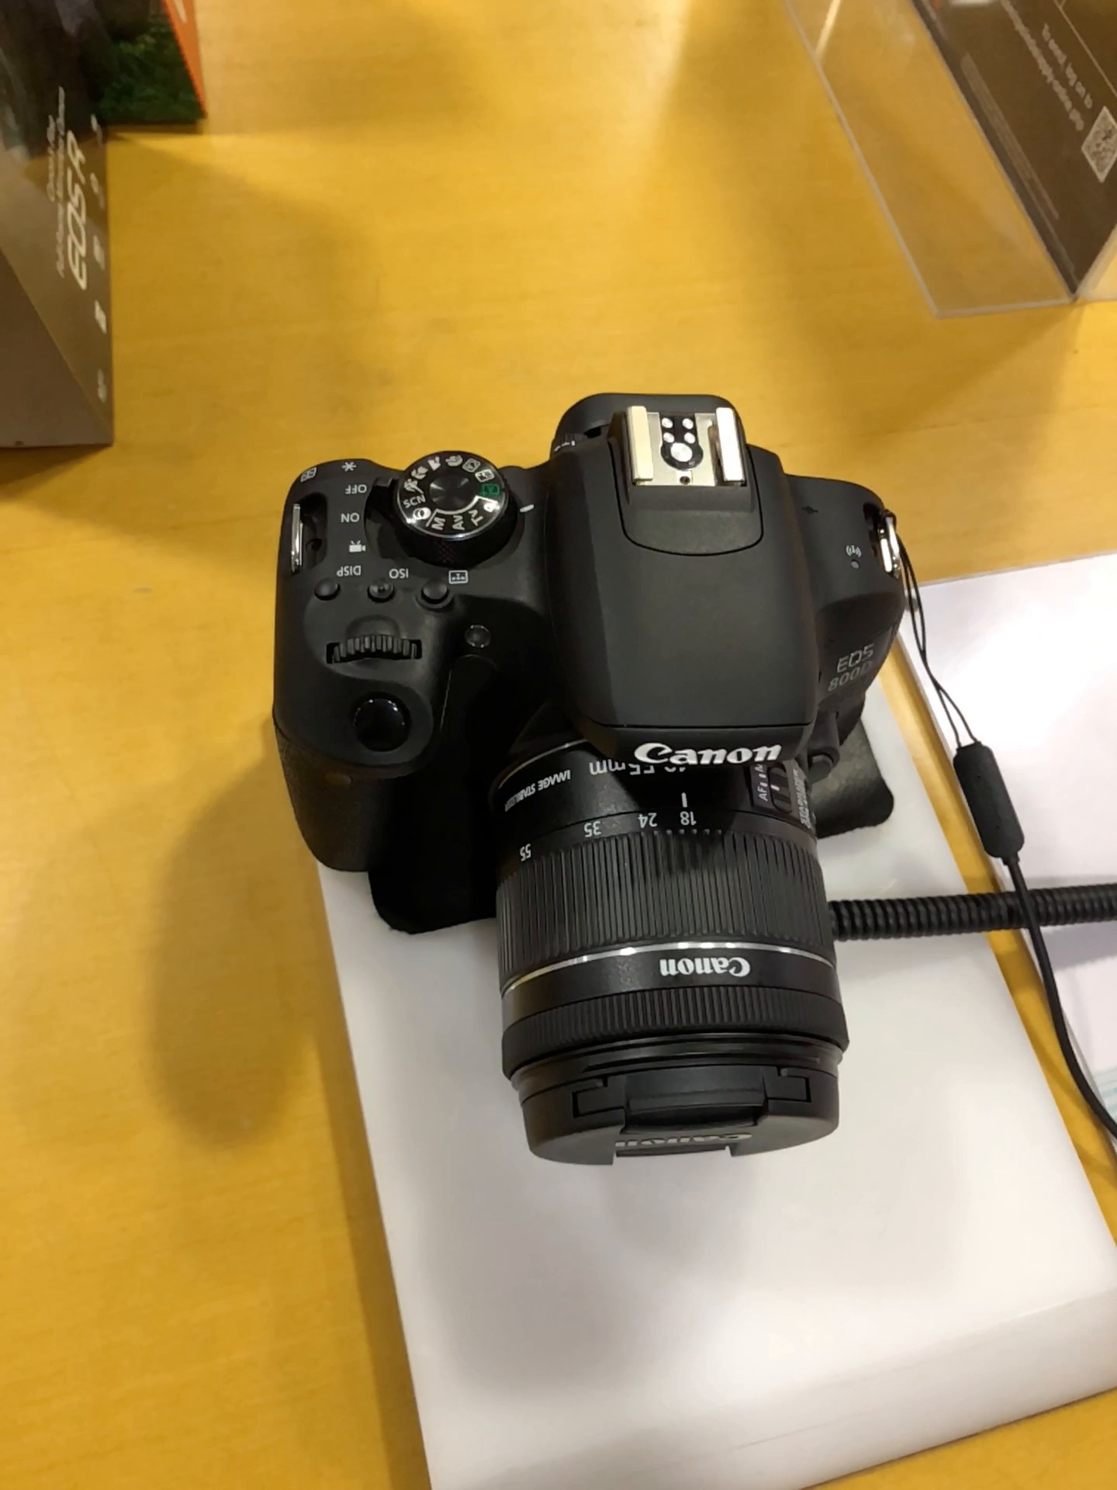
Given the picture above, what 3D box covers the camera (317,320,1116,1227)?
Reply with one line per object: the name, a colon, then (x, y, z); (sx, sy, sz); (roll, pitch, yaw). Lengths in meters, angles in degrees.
camera: (0.022, 0.008, 0.222); (0.120, 0.090, 0.130); (-1, 64, -8)
